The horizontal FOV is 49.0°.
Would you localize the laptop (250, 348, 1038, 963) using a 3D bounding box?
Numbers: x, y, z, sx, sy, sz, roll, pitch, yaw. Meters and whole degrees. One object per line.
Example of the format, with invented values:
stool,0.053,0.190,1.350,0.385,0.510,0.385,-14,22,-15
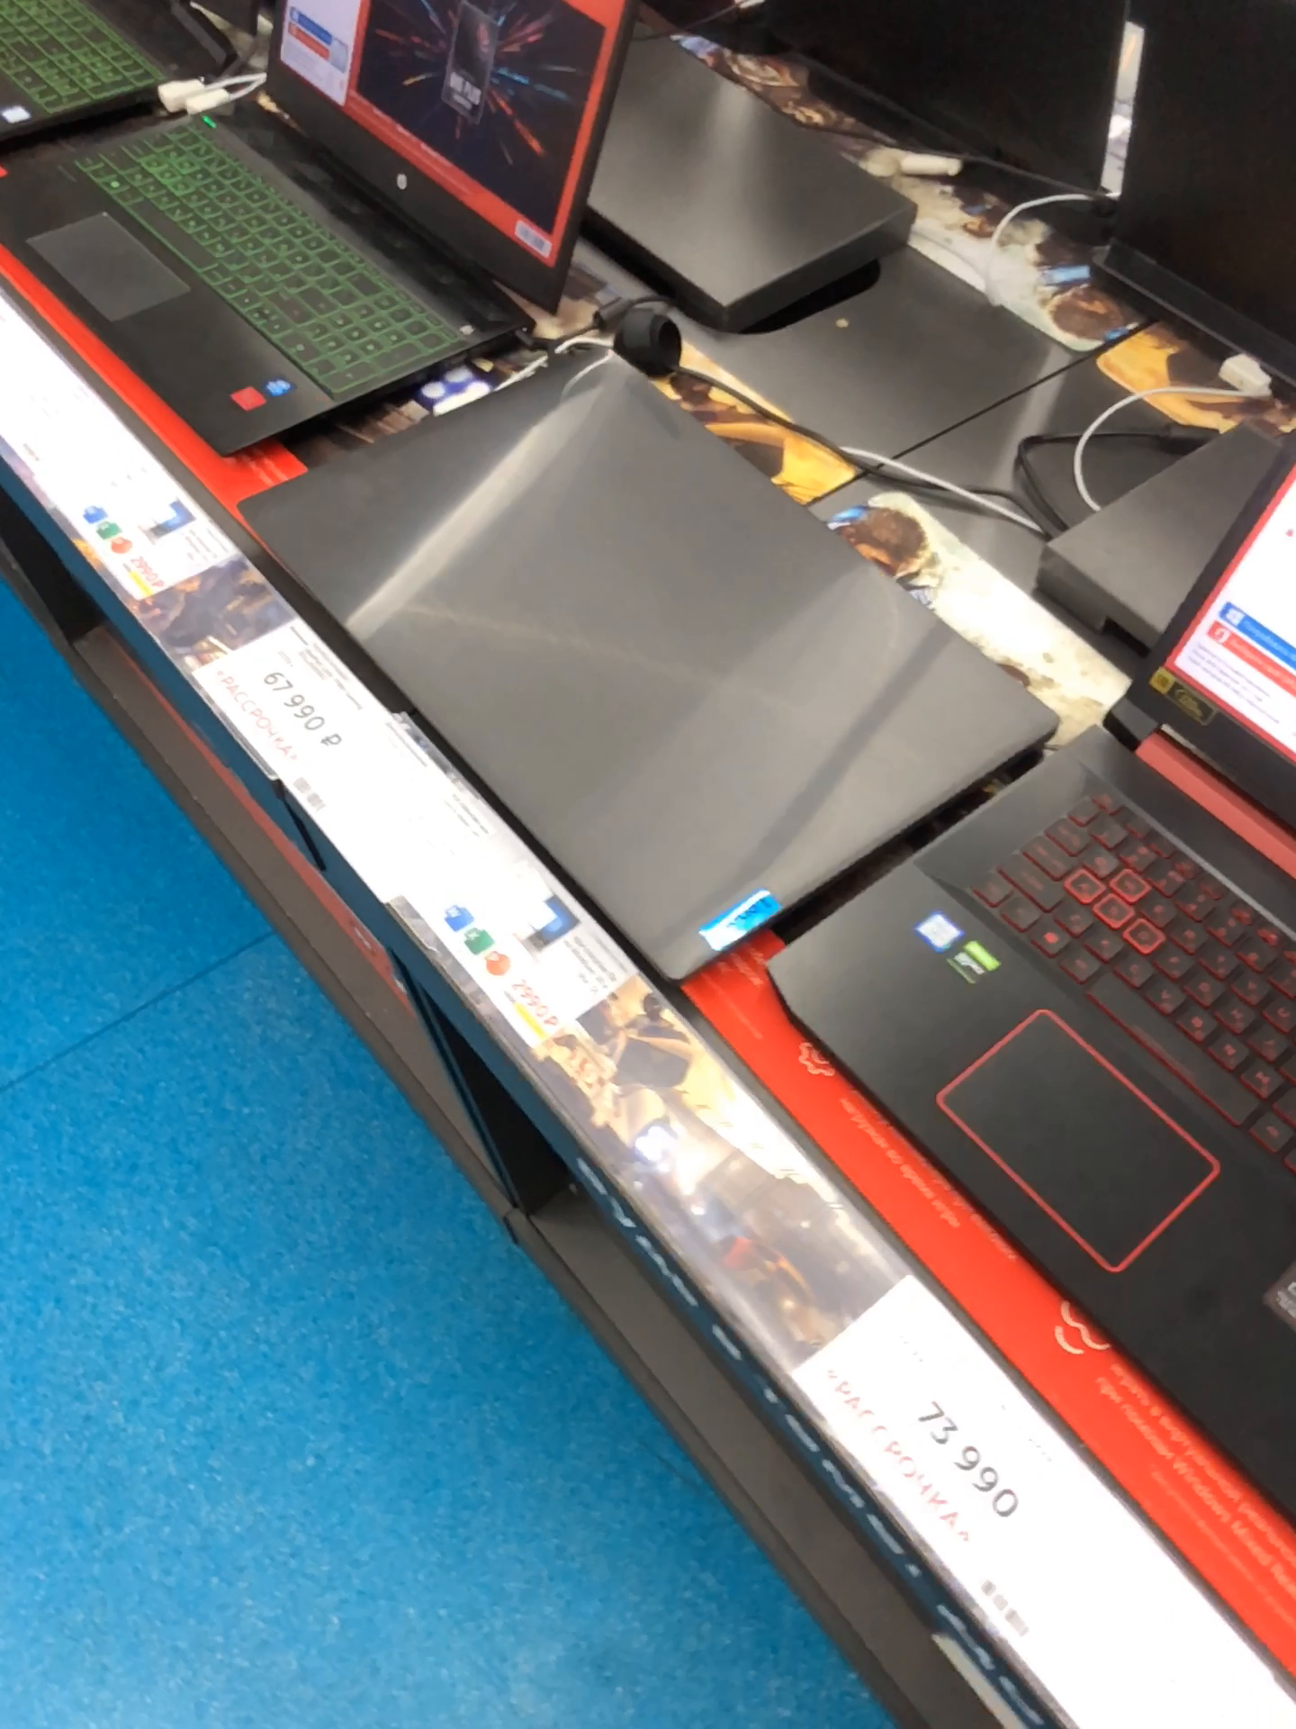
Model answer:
laptop,-0.009,-0.149,0.812,0.269,0.002,0.390,-32,63,-24
